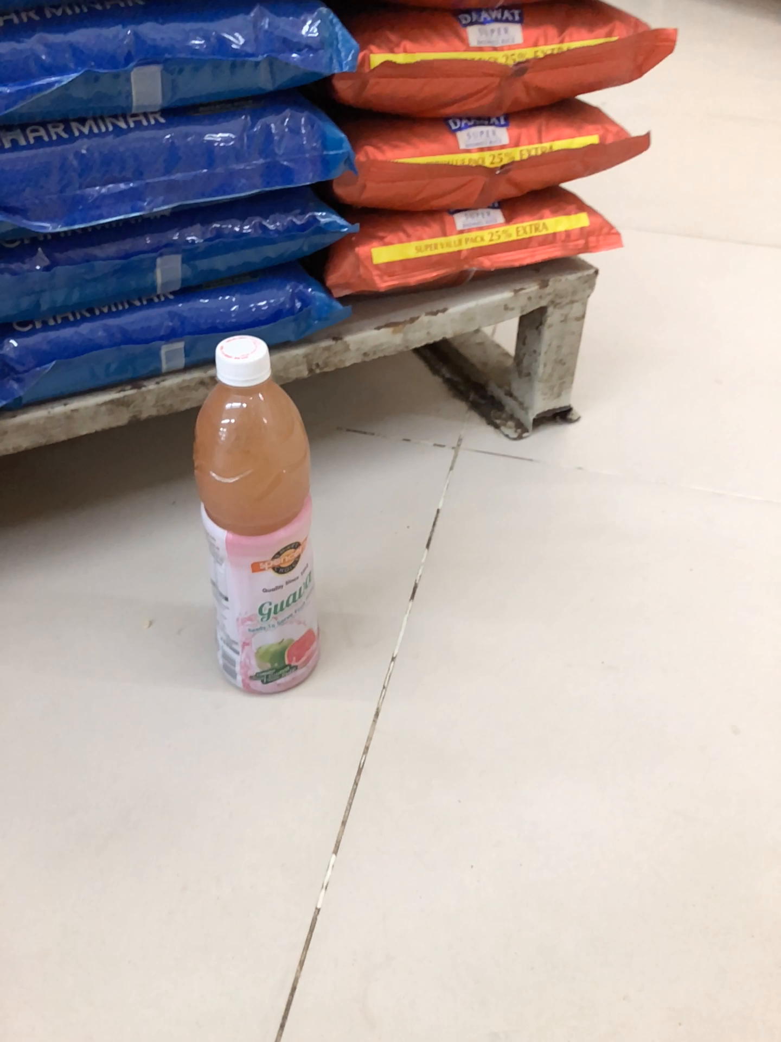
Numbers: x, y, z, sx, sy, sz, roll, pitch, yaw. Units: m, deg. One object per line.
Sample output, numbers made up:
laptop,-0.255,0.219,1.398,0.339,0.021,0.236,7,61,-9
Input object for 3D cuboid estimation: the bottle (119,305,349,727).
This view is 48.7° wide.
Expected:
bottle,-0.091,0.006,0.568,0.090,0.258,0.090,1,42,-1
